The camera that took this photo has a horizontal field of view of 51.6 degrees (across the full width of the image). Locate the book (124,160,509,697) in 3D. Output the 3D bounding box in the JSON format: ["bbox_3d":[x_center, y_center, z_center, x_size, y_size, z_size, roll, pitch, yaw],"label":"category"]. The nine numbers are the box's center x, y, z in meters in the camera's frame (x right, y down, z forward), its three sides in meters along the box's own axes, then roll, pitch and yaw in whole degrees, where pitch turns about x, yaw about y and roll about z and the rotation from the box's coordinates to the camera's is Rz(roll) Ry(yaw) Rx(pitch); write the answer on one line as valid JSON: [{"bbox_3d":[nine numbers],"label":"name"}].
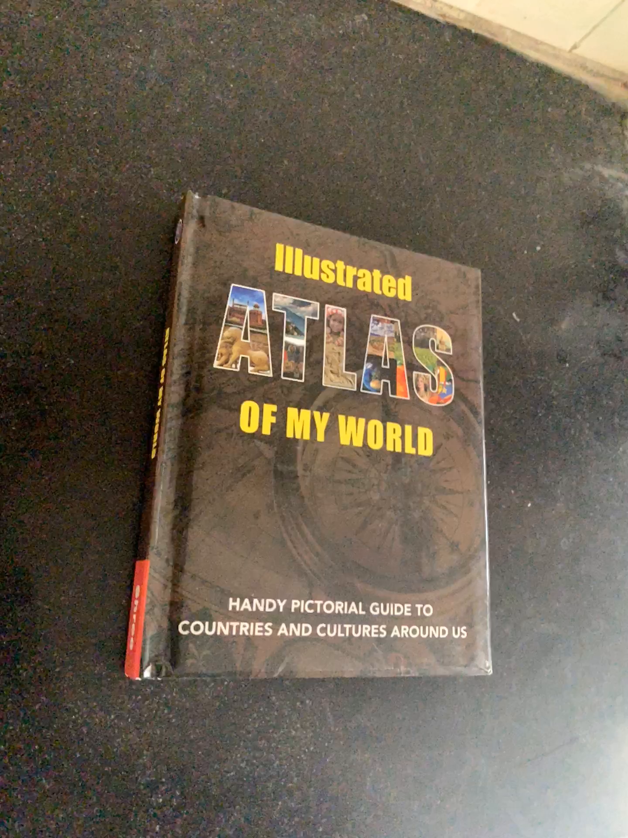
[{"bbox_3d":[0.011,0.007,0.372,0.200,0.040,0.270,8,74,-22],"label":"book"}]
